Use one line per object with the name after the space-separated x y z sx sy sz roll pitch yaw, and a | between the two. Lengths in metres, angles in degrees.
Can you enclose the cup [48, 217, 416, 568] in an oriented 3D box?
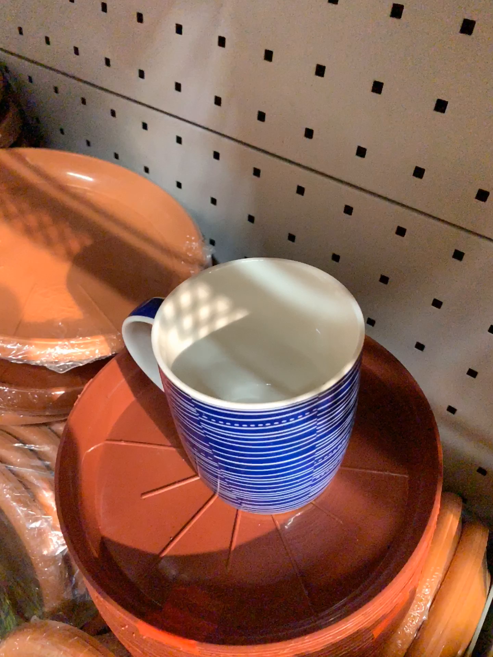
-0.001 0.025 0.256 0.130 0.100 0.100 16 45 18 | cup
